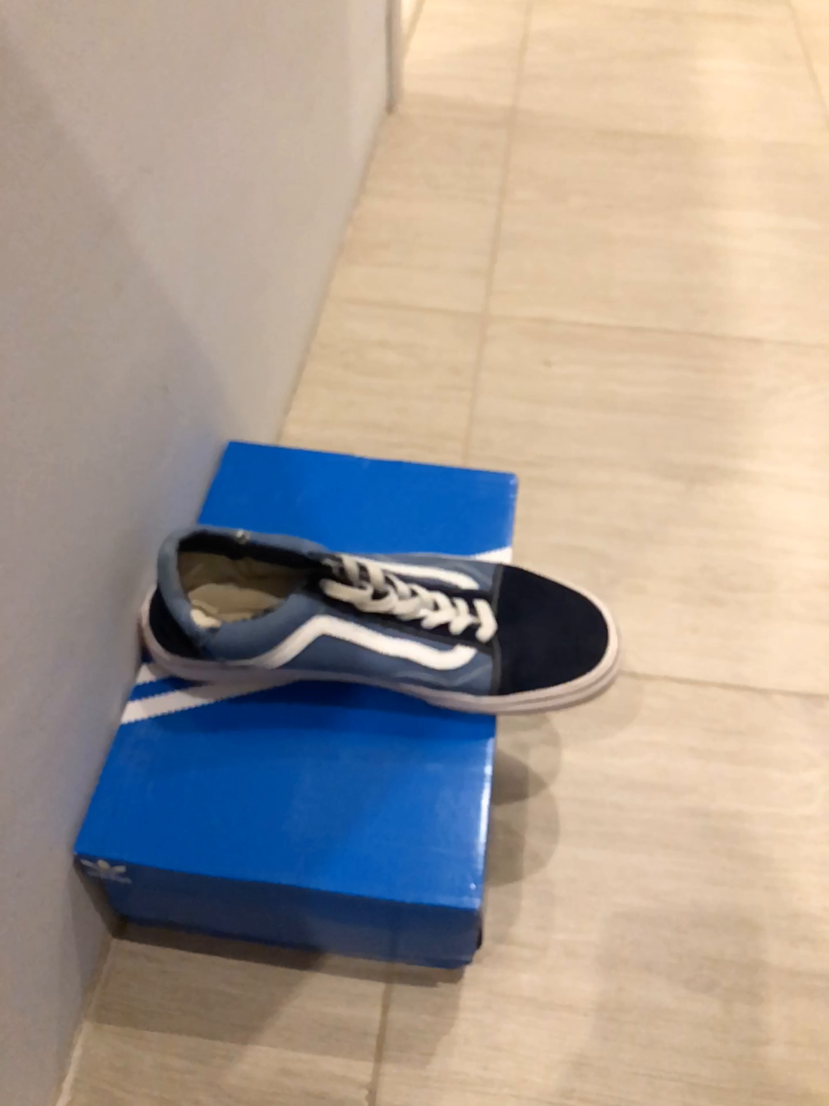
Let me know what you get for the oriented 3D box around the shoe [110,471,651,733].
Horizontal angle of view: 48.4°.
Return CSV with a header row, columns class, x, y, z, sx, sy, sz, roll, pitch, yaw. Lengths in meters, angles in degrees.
class,x,y,z,sx,sy,sz,roll,pitch,yaw
shoe,-0.016,0.027,0.541,0.280,0.079,0.111,4,50,2
